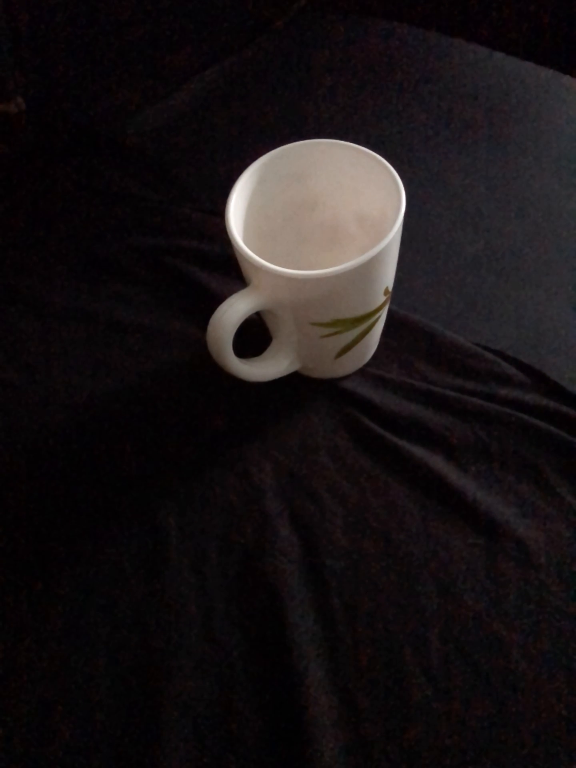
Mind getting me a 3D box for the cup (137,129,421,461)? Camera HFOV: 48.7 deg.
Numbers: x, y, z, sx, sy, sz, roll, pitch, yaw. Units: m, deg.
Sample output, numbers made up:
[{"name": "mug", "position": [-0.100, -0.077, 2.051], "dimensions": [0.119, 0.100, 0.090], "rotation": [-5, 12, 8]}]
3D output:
[{"name": "cup", "position": [-0.002, -0.050, 0.390], "dimensions": [0.090, 0.130, 0.125], "rotation": [34, 65, 19]}]
